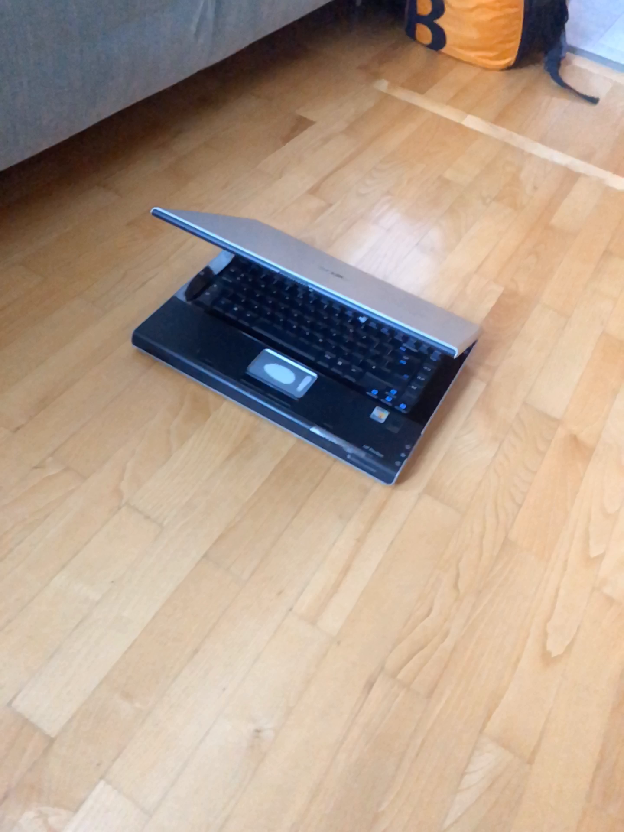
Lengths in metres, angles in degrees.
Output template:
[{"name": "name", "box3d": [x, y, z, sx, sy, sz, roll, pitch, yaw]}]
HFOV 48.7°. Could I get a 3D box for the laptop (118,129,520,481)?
[{"name": "laptop", "box3d": [0.008, -0.147, 0.819, 0.362, 0.147, 0.269, 28, 54, 13]}]
